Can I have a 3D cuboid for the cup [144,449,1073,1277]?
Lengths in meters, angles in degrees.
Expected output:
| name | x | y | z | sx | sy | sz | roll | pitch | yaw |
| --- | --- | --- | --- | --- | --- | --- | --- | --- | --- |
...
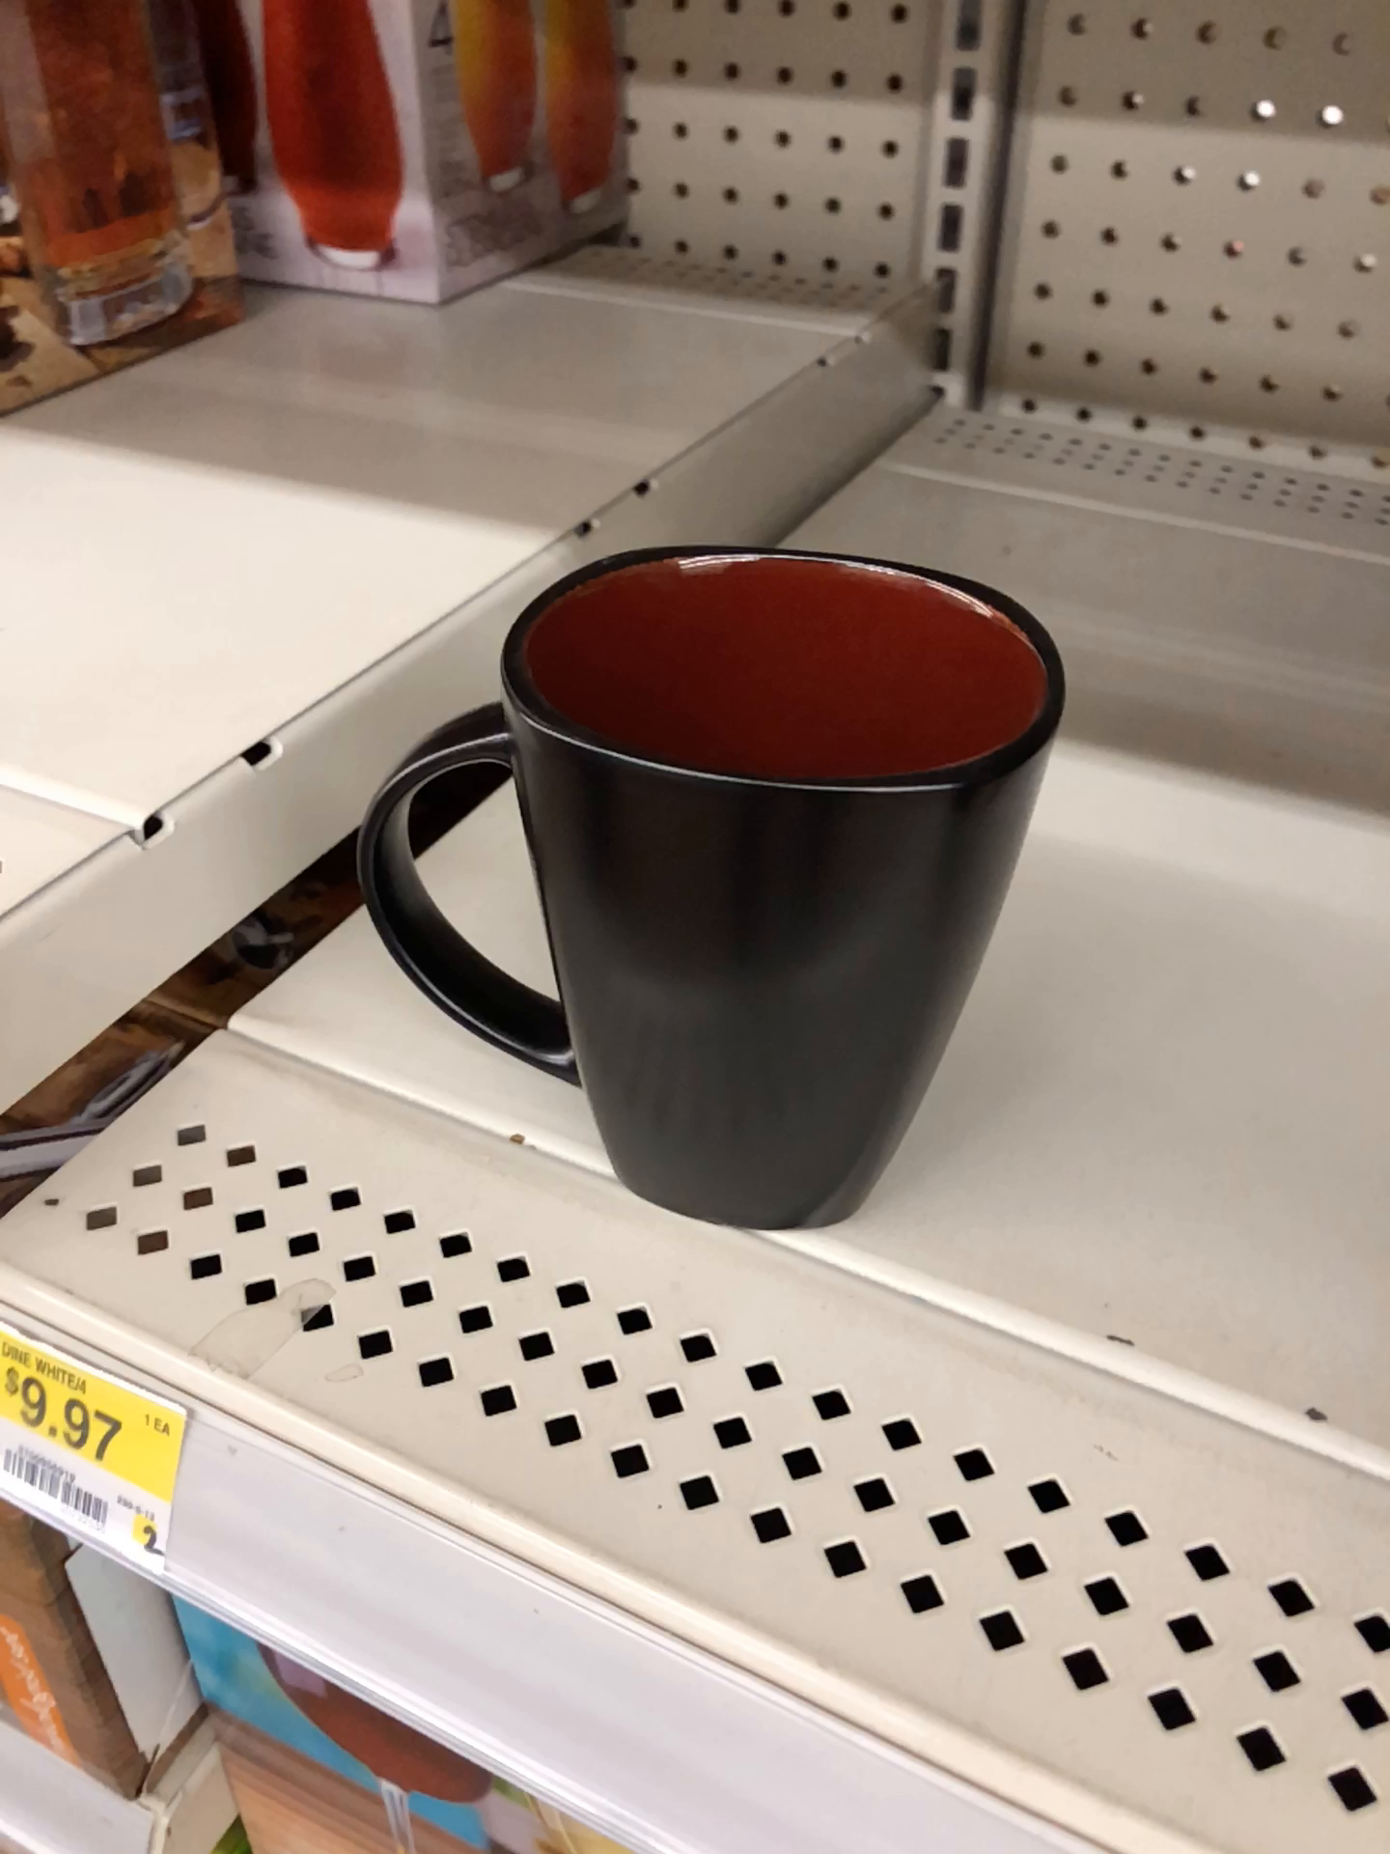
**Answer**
| name | x | y | z | sx | sy | sz | roll | pitch | yaw |
| --- | --- | --- | --- | --- | --- | --- | --- | --- | --- |
| cup | -0.008 | -0.017 | 0.281 | 0.130 | 0.100 | 0.090 | 9 | 36 | 11 |
